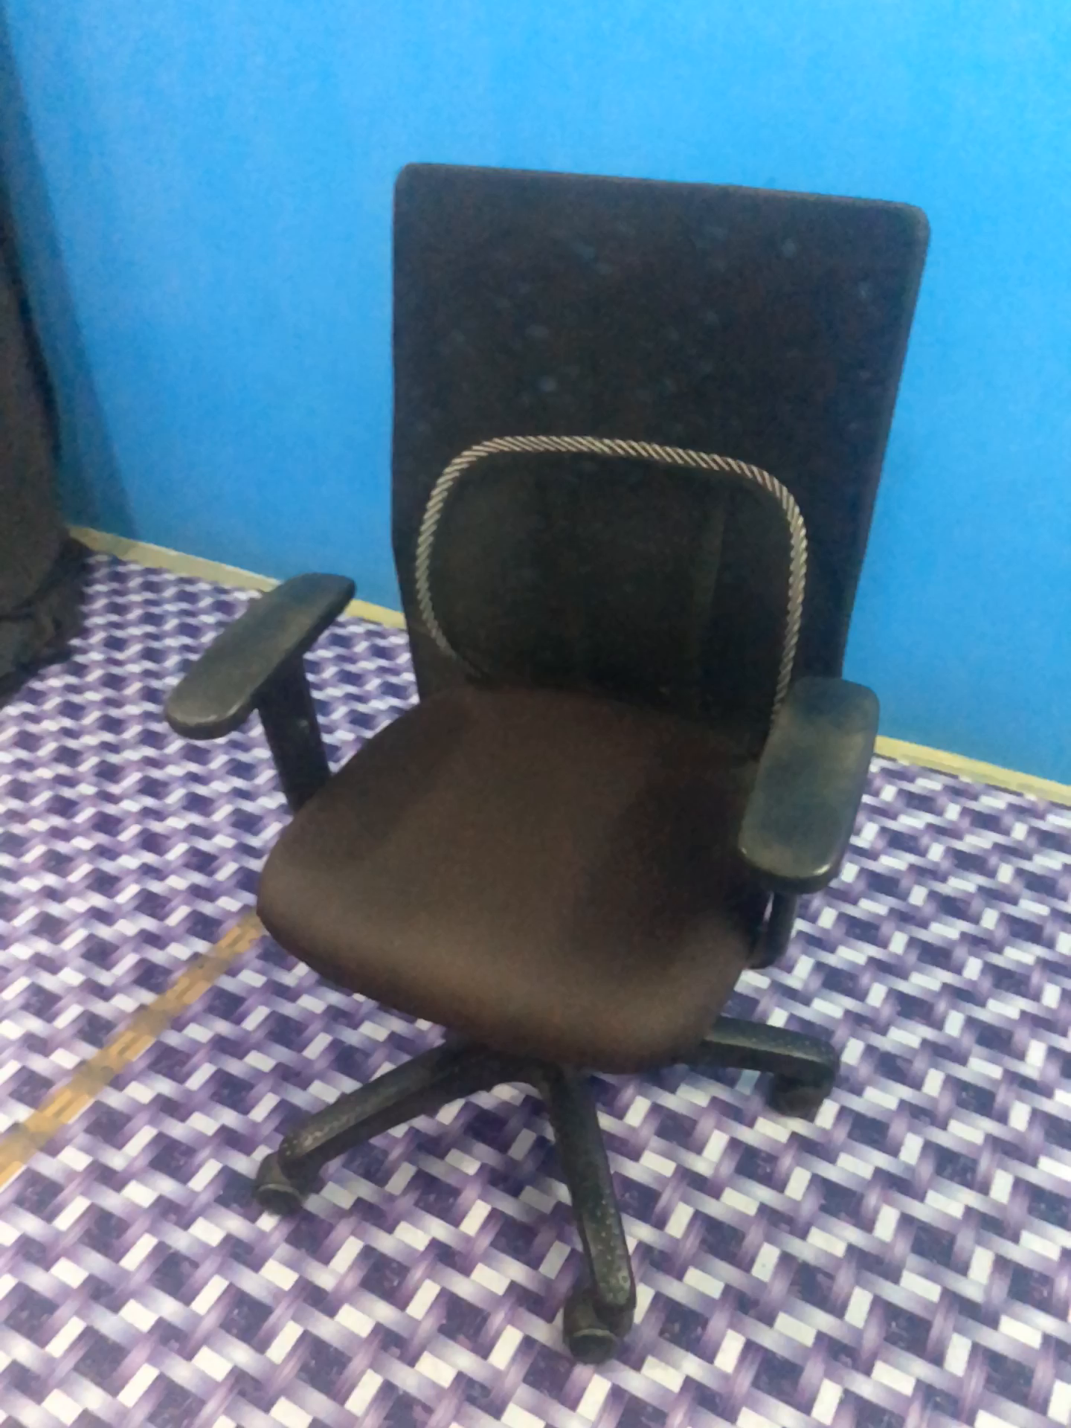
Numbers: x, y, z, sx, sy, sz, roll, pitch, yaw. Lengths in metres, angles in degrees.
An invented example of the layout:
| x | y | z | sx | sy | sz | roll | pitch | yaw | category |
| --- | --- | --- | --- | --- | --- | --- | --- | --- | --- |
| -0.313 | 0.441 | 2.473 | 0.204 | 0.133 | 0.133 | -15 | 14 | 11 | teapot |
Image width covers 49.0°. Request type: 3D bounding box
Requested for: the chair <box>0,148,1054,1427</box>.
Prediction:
| x | y | z | sx | sy | sz | roll | pitch | yaw | category |
| --- | --- | --- | --- | --- | --- | --- | --- | --- | --- |
| 0.019 | 0.025 | 1.110 | 0.660 | 0.885 | 0.674 | 12 | 37 | 19 | chair |
